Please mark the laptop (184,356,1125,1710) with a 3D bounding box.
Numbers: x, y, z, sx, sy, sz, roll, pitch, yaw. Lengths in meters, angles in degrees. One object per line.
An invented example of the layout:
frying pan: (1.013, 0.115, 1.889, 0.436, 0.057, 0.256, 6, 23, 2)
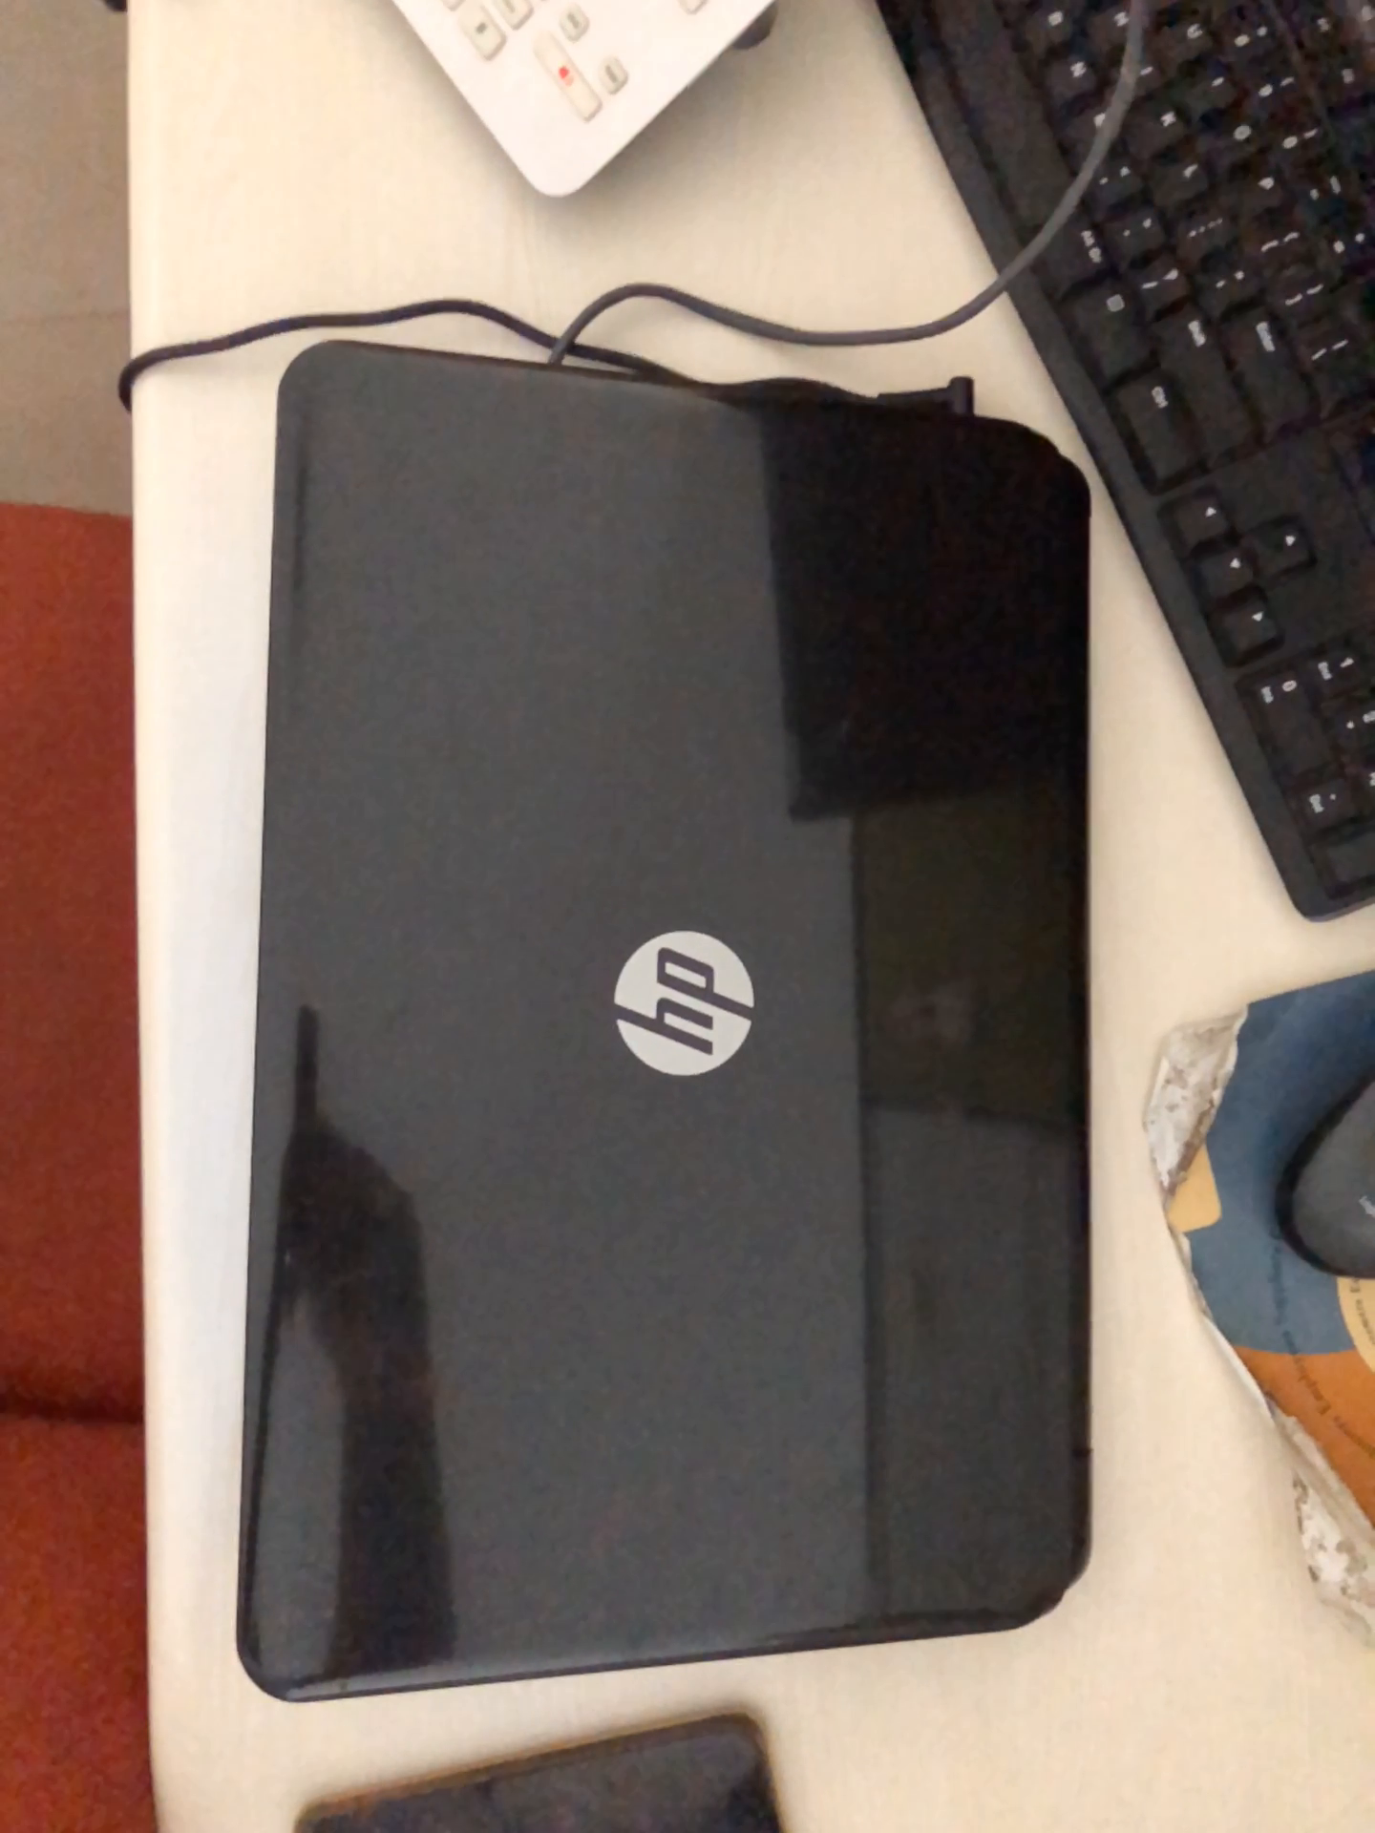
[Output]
laptop: (-0.006, 0.025, 0.442, 0.245, 0.072, 0.350, 1, 86, 3)
